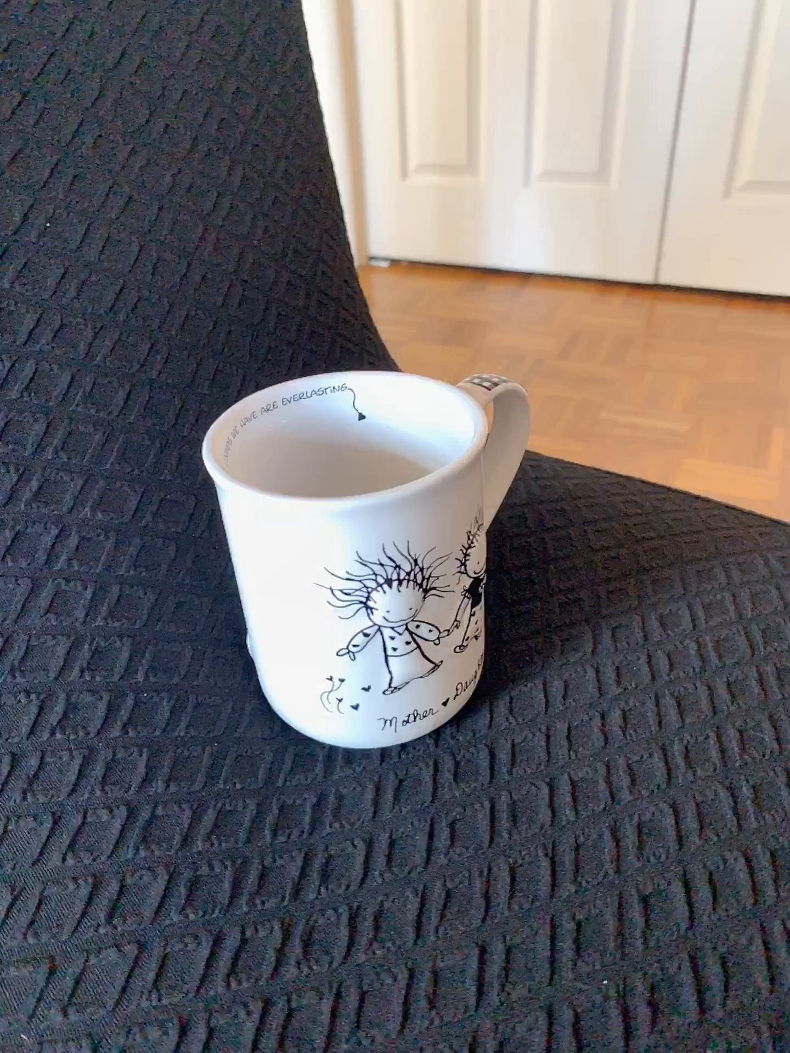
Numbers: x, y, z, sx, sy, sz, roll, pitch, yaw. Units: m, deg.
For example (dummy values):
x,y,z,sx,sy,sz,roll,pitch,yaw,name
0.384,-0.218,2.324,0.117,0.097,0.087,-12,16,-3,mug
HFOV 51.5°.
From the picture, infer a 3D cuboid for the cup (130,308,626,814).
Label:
x,y,z,sx,sy,sz,roll,pitch,yaw,name
0.000,0.002,0.312,0.100,0.109,0.140,28,47,36,cup
